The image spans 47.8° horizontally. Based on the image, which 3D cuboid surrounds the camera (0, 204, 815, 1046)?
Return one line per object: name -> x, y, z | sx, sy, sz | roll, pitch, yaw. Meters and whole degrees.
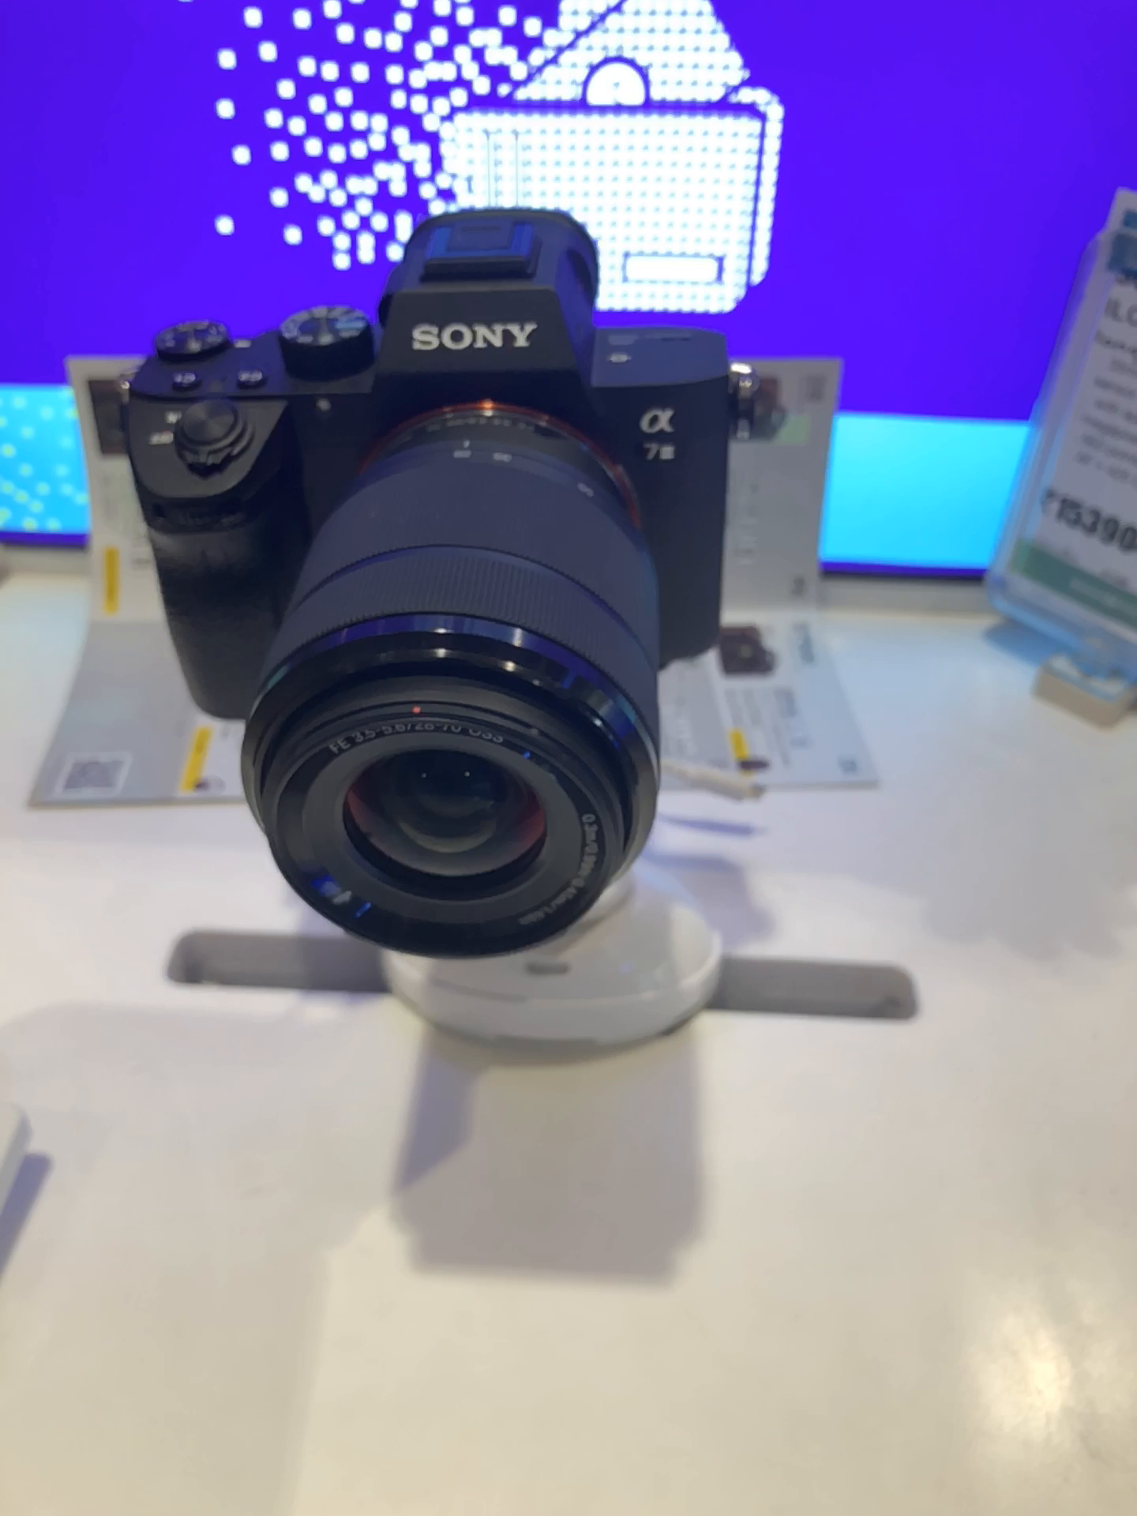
camera -> -0.033, -0.032, 0.252 | 0.120, 0.109, 0.128 | -1, 39, -4
